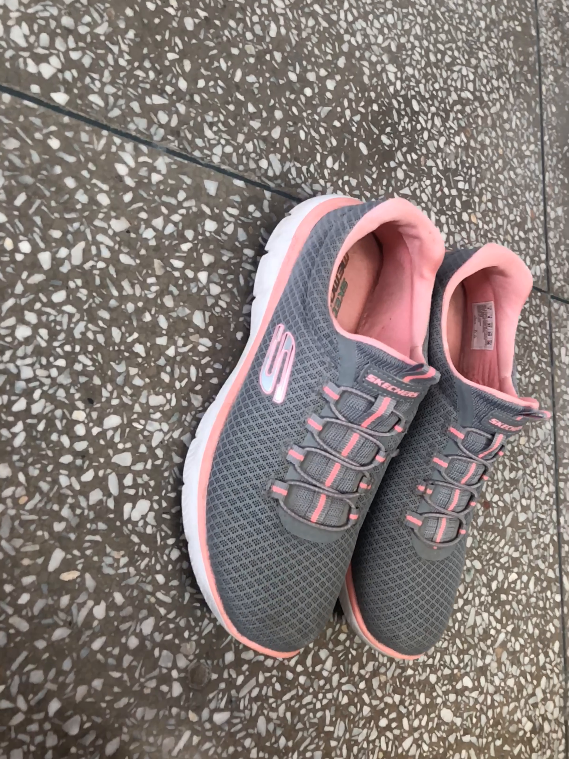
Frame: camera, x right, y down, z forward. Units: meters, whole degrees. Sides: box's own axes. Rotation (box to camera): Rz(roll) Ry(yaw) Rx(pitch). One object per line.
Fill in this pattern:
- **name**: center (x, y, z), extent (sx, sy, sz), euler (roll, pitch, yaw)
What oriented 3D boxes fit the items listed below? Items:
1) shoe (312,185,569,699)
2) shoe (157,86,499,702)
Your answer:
- **shoe**: center (0.107, 0.037, 0.369), extent (0.102, 0.108, 0.246), euler (19, 71, -31)
- **shoe**: center (0.027, 0.008, 0.312), extent (0.097, 0.094, 0.252), euler (19, 71, -31)
